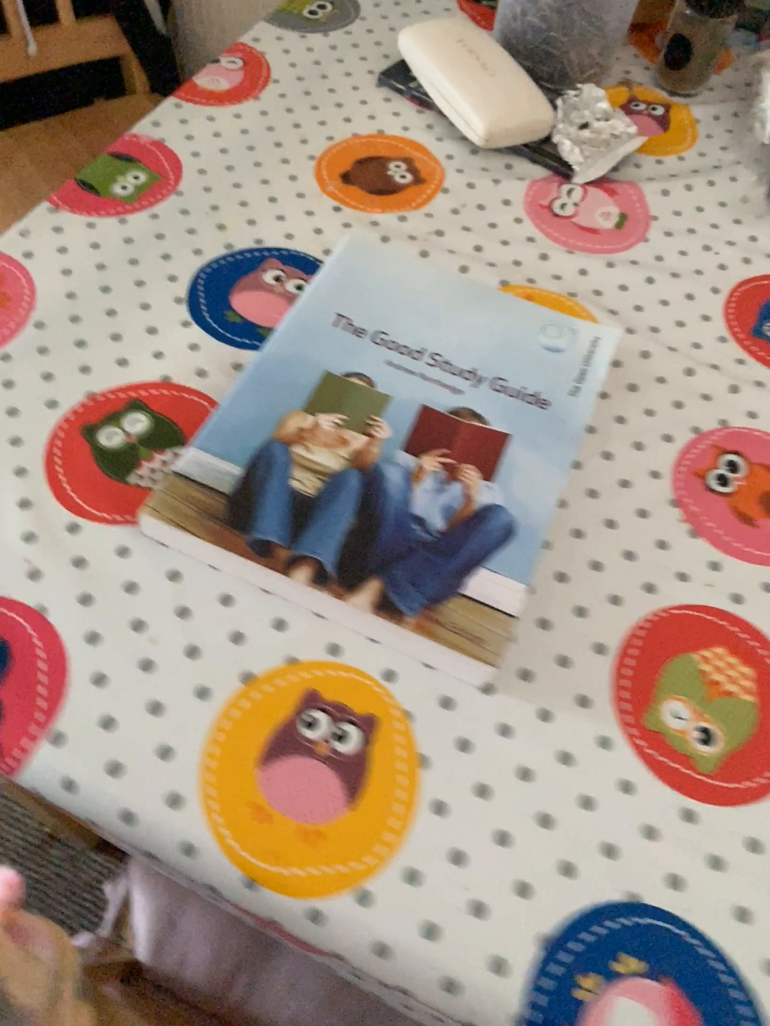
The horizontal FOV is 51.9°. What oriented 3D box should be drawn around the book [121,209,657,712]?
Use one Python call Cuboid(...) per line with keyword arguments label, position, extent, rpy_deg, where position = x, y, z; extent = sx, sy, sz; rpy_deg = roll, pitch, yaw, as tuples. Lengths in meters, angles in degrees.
Cuboid(label="book", position=(0.019, -0.052, 0.450), extent=(0.210, 0.030, 0.262), rpy_deg=(23, 58, 8))
